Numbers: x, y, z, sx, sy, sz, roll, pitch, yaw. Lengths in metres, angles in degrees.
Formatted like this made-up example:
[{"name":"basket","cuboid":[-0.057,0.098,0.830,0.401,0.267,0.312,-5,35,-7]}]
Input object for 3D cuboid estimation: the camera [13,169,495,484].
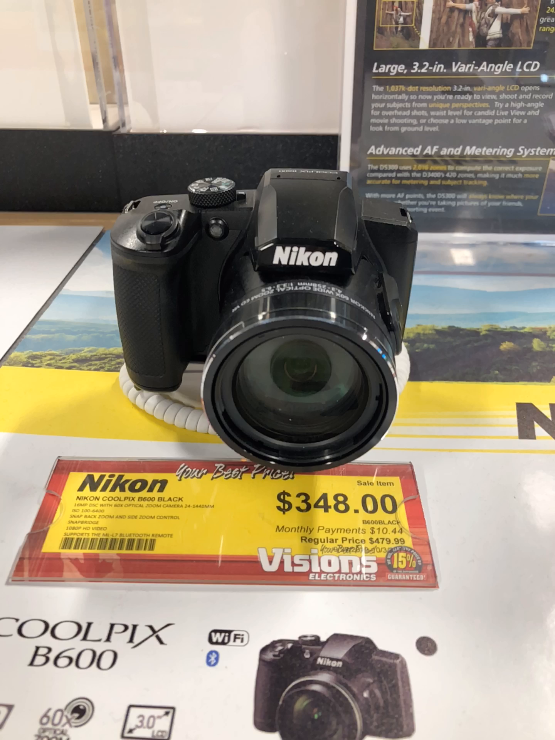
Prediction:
[{"name":"camera","cuboid":[-0.004,-0.024,0.230,0.130,0.070,0.111,2,33,3]}]
